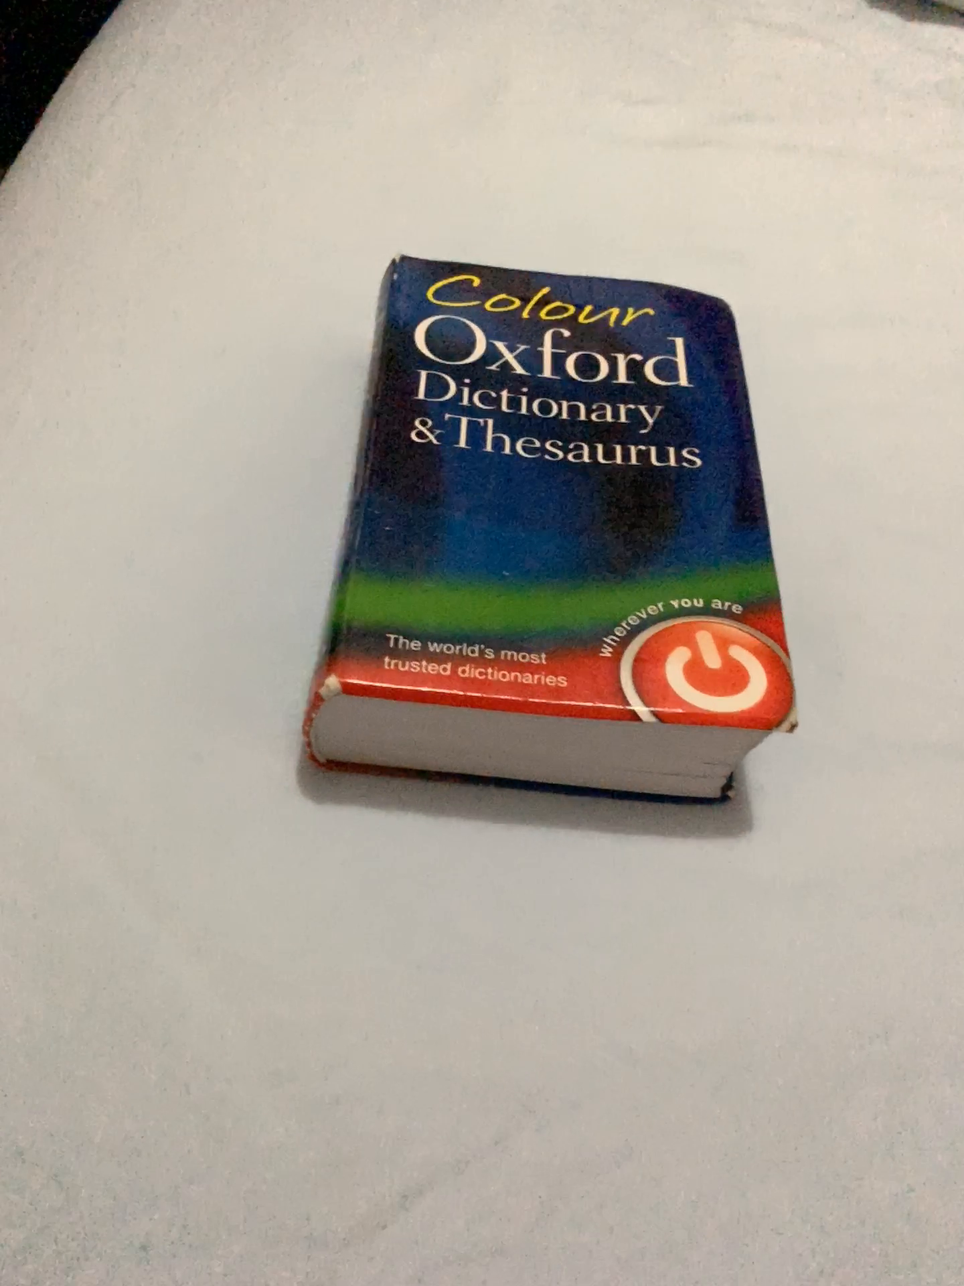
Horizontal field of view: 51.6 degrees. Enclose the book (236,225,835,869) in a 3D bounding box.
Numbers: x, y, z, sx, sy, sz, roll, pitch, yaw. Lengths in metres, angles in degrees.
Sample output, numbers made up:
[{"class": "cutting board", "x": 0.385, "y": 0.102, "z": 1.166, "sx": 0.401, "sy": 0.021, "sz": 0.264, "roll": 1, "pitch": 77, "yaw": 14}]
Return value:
[{"class": "book", "x": 0.015, "y": -0.037, "z": 0.267, "sx": 0.120, "sy": 0.040, "sz": 0.181, "roll": 3, "pitch": 56, "yaw": 1}]
